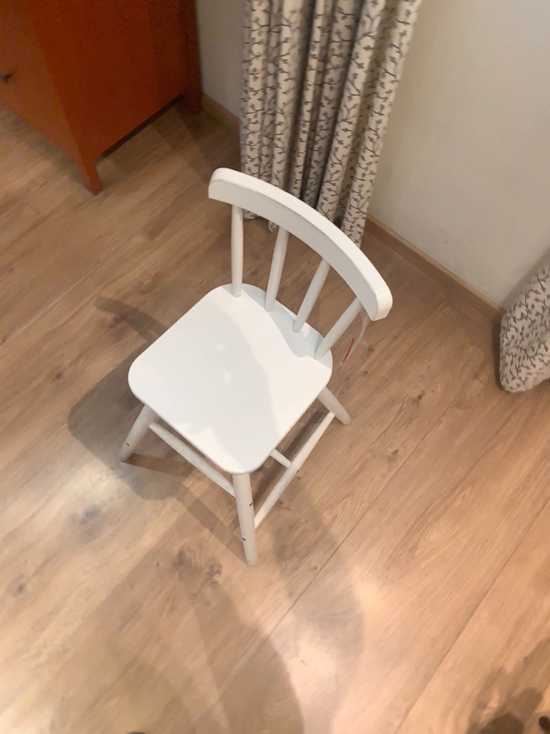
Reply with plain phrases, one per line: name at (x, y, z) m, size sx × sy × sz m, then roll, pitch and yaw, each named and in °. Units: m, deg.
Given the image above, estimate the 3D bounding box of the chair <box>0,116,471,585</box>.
chair at (-0.075, 0.048, 0.991) m, size 0.450 × 0.650 × 0.430 m, roll 37°, pitch 70°, yaw 11°
